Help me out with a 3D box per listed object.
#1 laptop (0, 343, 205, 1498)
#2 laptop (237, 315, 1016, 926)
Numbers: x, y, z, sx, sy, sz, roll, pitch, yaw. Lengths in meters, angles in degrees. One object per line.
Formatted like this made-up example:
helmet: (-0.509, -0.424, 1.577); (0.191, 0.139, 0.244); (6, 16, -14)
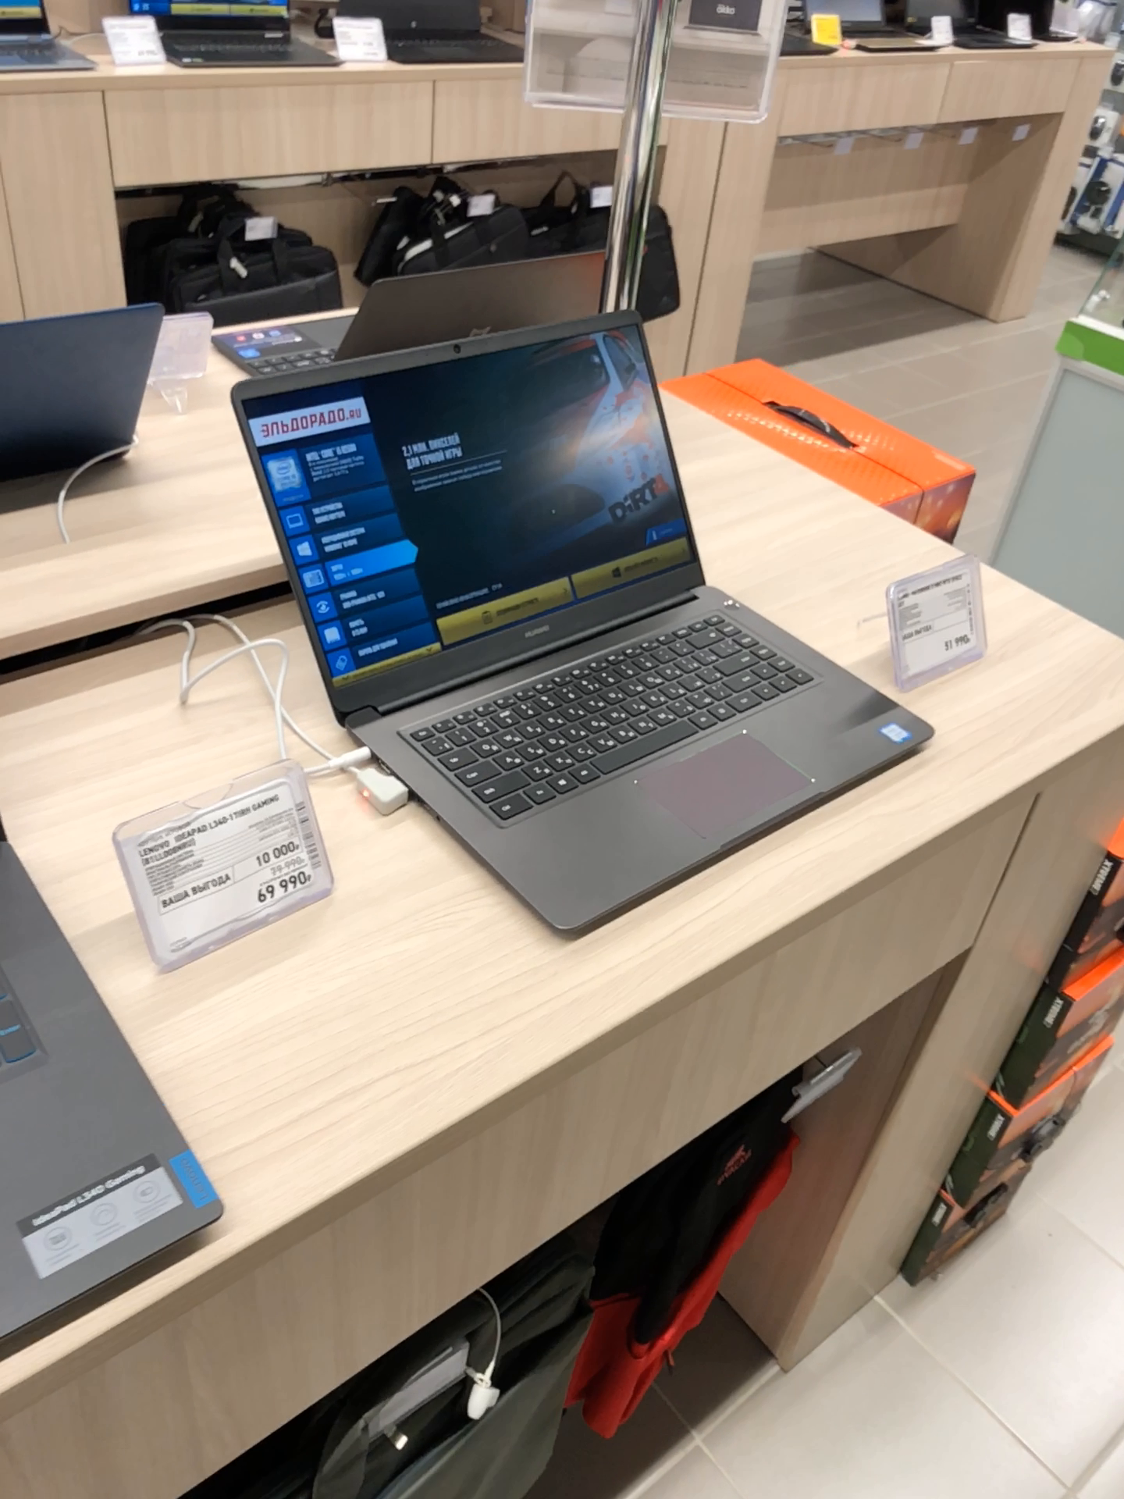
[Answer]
laptop: (-0.404, 0.058, 0.460); (0.392, 0.242, 0.379); (-21, 45, -33)
laptop: (0.031, -0.123, 0.837); (0.345, 0.180, 0.358); (-24, 47, -34)
